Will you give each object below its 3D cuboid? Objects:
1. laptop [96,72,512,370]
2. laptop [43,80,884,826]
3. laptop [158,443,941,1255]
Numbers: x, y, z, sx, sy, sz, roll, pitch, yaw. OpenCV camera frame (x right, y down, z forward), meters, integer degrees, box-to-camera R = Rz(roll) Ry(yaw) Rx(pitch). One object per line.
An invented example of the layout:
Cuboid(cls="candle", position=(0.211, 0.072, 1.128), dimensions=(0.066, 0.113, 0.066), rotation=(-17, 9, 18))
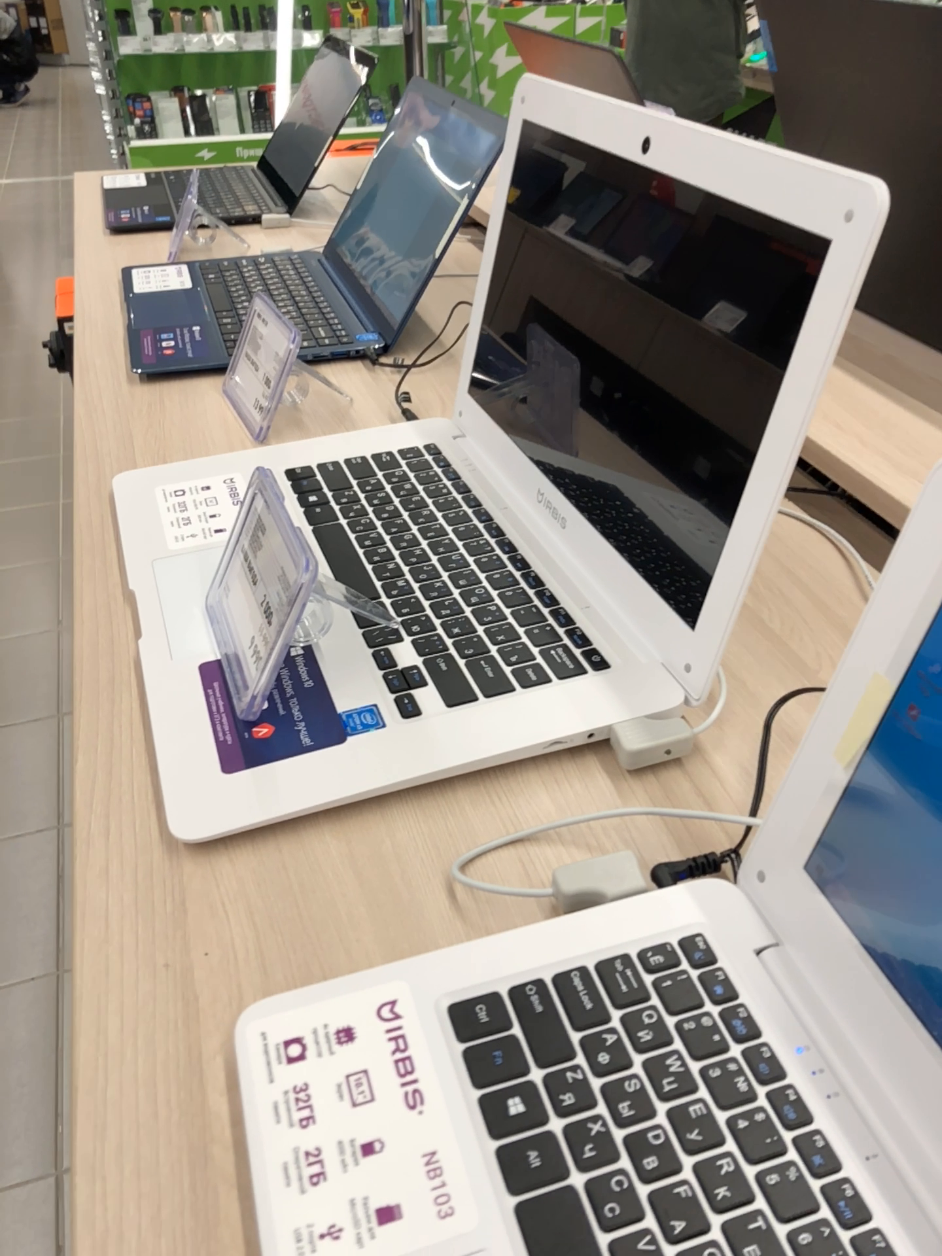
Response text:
Cuboid(cls="laptop", position=(-0.159, -0.382, 0.932), dimensions=(0.311, 0.158, 0.300), rotation=(-11, 36, -13))
Cuboid(cls="laptop", position=(-0.041, -0.127, 0.517), dimensions=(0.279, 0.207, 0.335), rotation=(-13, 36, -15))
Cuboid(cls="laptop", position=(0.069, 0.104, 0.206), dimensions=(0.221, 0.167, 0.261), rotation=(-10, 34, -14))
